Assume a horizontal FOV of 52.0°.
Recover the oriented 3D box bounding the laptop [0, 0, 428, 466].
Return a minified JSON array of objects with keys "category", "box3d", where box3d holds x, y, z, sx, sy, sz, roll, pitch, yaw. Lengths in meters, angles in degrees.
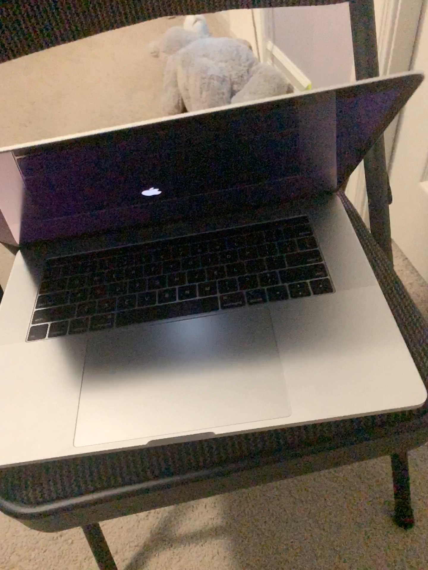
[{"category":"laptop","box3d":[-0.043,-0.040,0.311,0.333,0.189,0.232,-10,49,4]}]
